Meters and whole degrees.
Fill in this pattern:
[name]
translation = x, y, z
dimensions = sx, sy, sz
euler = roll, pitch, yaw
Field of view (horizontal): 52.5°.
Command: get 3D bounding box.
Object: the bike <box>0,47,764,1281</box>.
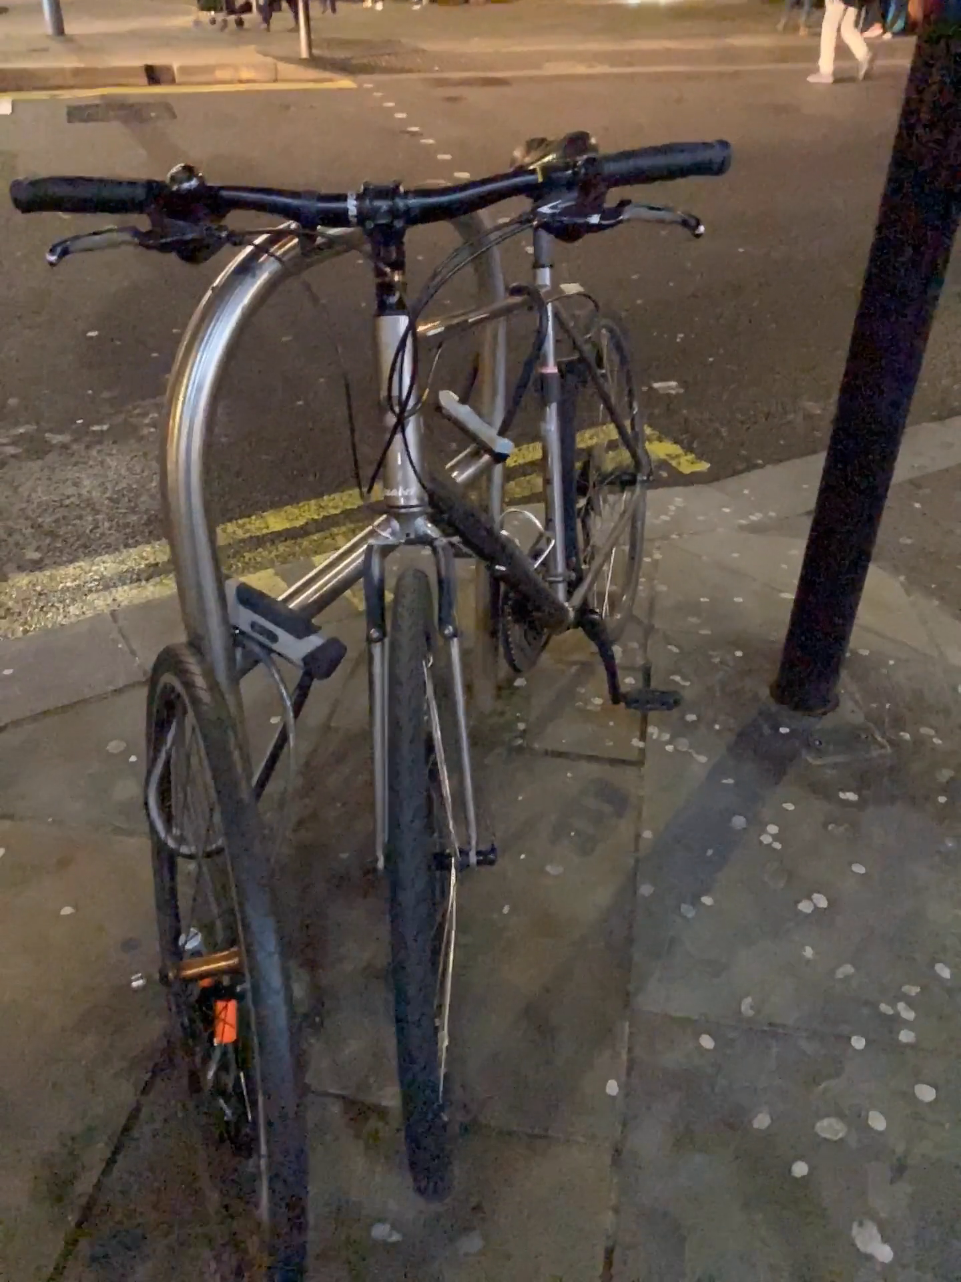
[bike]
translation = -0.016, -0.225, 1.533
dimensions = 0.708, 1.124, 1.830
euler = 8, 35, 11
